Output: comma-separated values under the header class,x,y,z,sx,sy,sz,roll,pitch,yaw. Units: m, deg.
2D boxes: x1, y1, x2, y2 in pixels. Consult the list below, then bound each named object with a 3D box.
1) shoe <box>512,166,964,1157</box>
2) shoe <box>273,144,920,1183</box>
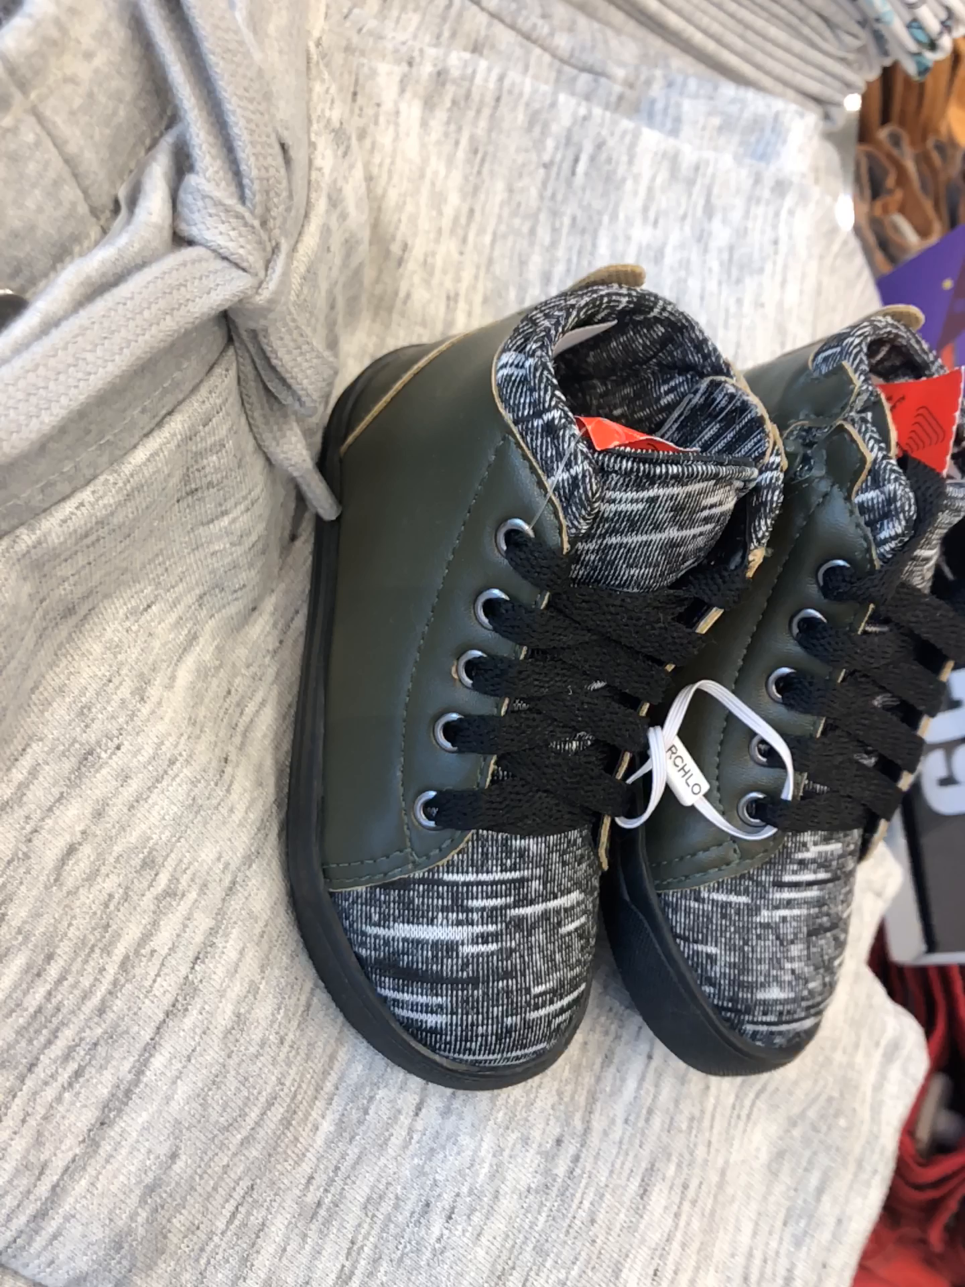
class,x,y,z,sx,sy,sz,roll,pitch,yaw
shoe,0.074,0.006,0.240,0.080,0.090,0.170,1,76,-33
shoe,0.013,0.007,0.221,0.080,0.090,0.160,5,75,-32
